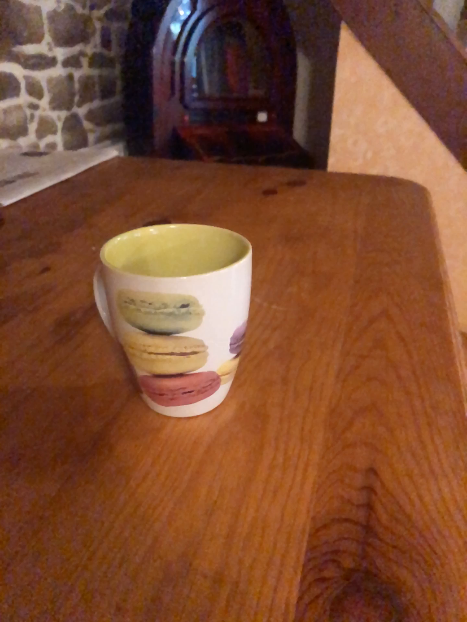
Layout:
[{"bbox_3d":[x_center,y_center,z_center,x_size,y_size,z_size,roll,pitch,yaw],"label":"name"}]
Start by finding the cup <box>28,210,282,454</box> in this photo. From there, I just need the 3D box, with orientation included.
[{"bbox_3d":[-0.047,0.003,0.340,0.120,0.099,0.098,17,31,29],"label":"cup"}]
